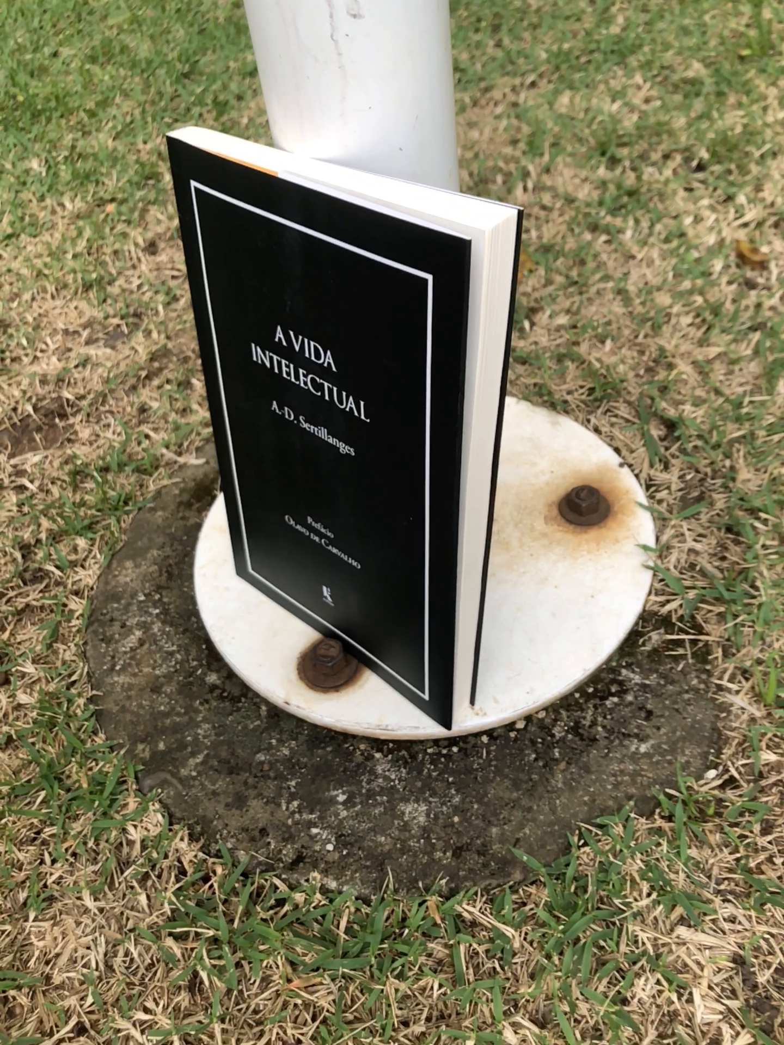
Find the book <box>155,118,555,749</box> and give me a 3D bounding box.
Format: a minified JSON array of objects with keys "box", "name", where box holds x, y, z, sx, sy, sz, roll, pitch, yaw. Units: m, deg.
[{"box":[-0.017,-0.026,0.312,0.141,0.193,0.025,31,48,33],"name":"book"}]
